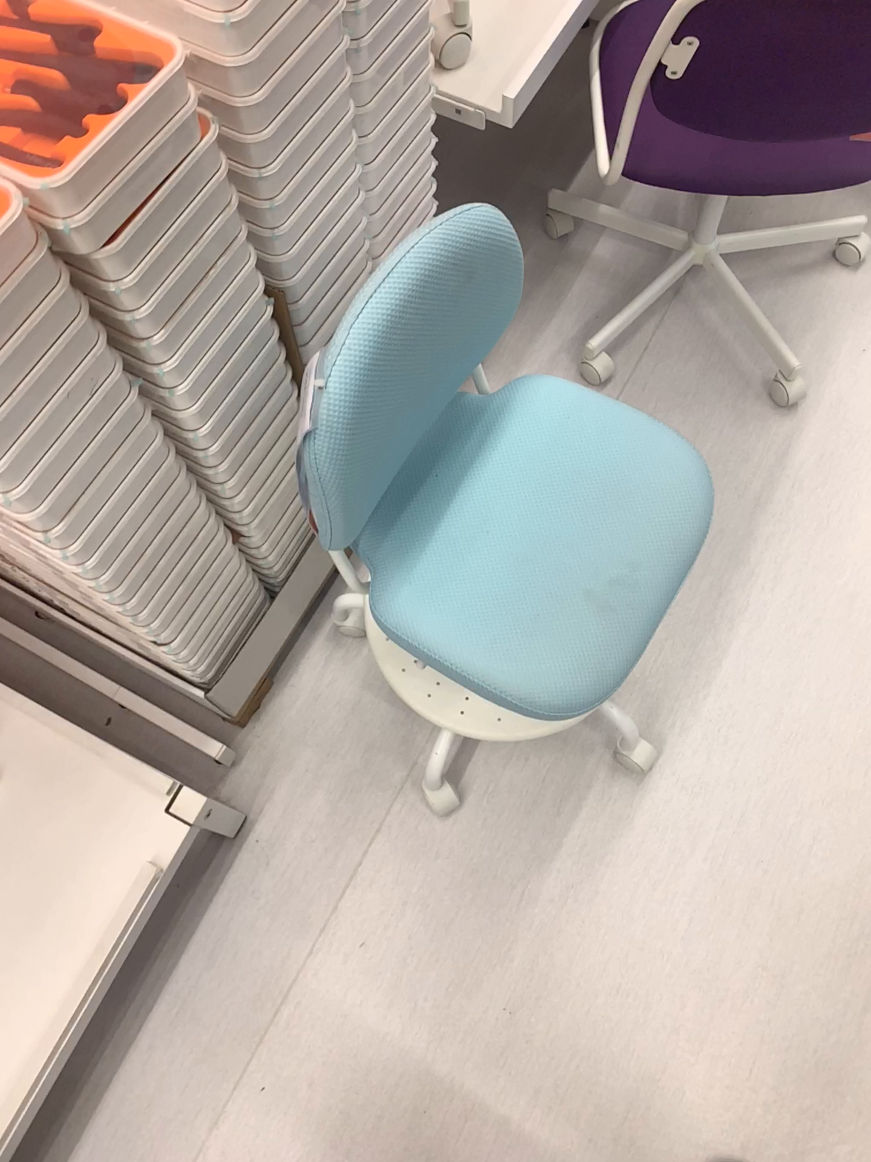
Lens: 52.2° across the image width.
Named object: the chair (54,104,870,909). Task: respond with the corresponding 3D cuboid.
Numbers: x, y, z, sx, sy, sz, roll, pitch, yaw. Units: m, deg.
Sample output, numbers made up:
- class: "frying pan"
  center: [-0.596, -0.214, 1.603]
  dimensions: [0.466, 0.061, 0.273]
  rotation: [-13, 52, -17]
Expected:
- class: "chair"
  center: [0.090, -0.007, 1.145]
  dimensions: [0.610, 0.749, 0.570]
  rotation: [26, 72, 13]
